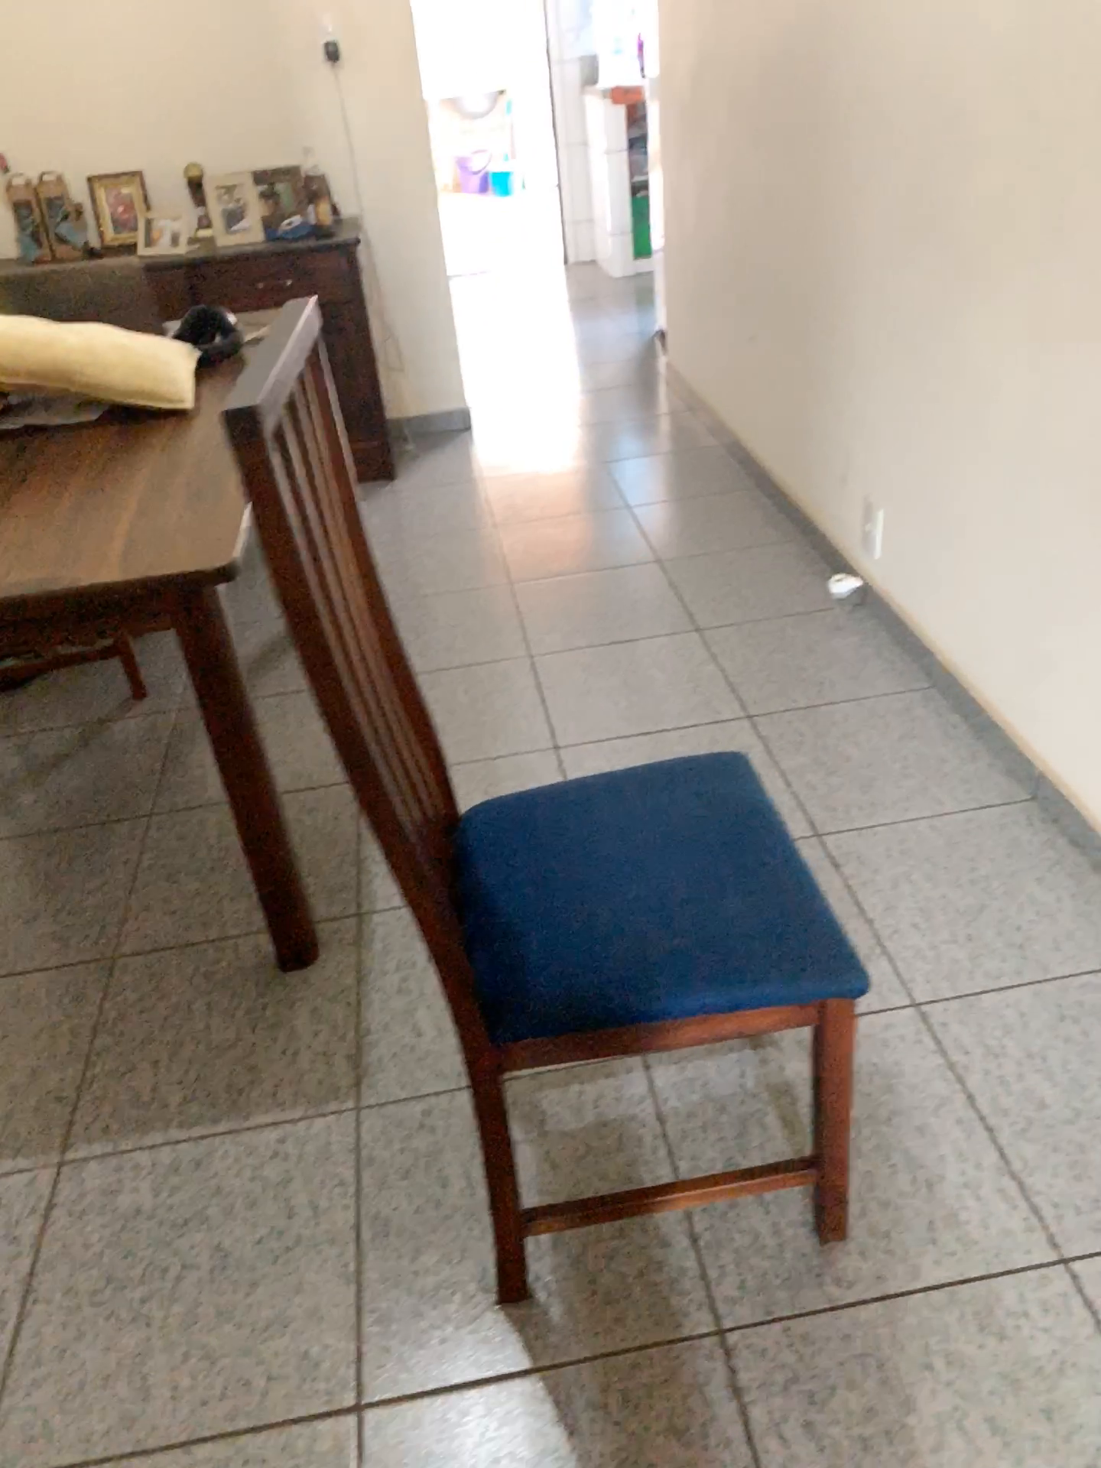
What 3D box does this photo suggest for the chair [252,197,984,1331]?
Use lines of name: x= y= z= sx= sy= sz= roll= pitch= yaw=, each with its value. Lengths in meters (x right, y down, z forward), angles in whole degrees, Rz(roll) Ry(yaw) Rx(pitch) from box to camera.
chair: x=0.076 y=0.064 z=1.271 sx=0.520 sy=1.124 sz=0.473 roll=-9 pitch=30 yaw=-4
